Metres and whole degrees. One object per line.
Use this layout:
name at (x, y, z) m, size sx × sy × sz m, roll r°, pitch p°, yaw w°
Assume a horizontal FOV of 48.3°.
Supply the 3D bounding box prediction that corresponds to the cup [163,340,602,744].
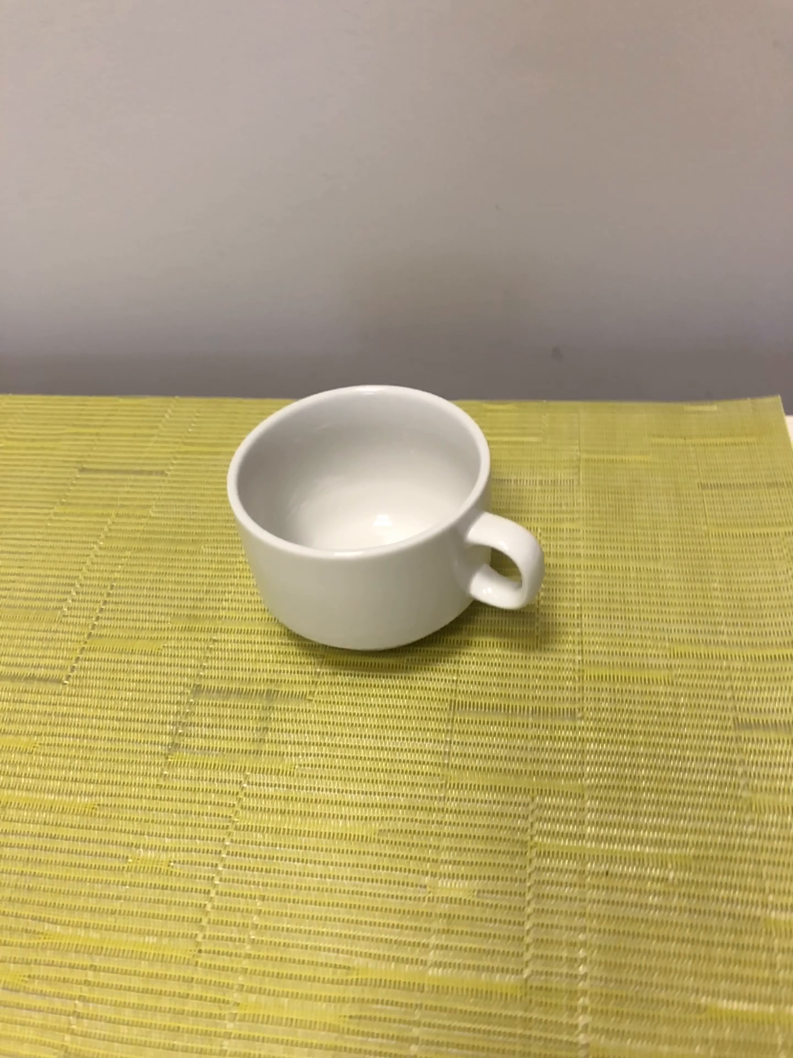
cup at (-0.004, -0.003, 0.298) m, size 0.110 × 0.057 × 0.086 m, roll 30°, pitch 55°, yaw 33°
